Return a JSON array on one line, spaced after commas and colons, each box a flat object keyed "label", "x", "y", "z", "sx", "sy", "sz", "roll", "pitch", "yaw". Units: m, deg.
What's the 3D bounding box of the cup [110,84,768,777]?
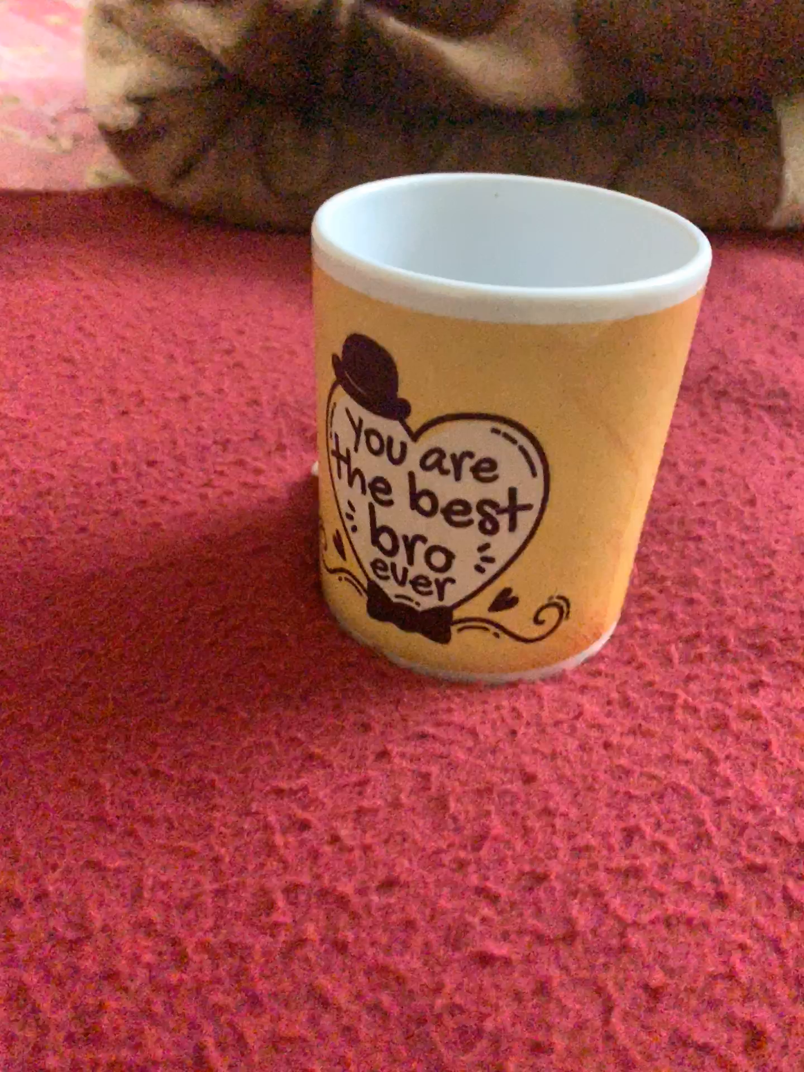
[{"label": "cup", "x": 0.001, "y": -0.033, "z": 0.203, "sx": 0.080, "sy": 0.109, "sz": 0.111, "roll": -25, "pitch": 46, "yaw": -28}]

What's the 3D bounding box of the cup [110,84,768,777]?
[{"label": "cup", "x": 0.001, "y": -0.033, "z": 0.203, "sx": 0.080, "sy": 0.109, "sz": 0.111, "roll": -25, "pitch": 46, "yaw": -28}]
